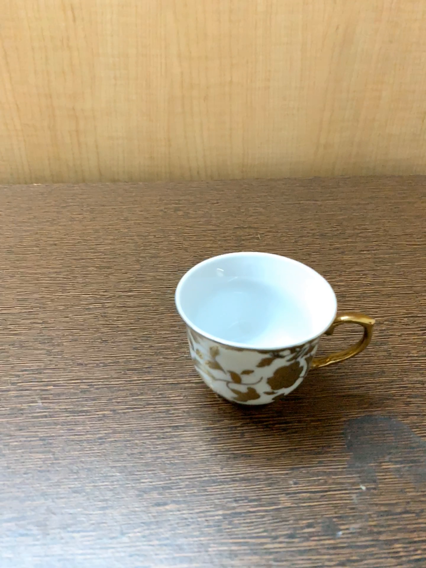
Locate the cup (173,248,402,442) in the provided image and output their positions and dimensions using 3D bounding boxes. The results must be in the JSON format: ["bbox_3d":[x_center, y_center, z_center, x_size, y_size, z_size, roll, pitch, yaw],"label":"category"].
[{"bbox_3d":[0.026,0.024,0.198,0.080,0.050,0.071,1,35,0],"label":"cup"}]

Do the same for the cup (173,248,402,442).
[{"bbox_3d":[0.026,0.024,0.198,0.080,0.050,0.071,1,35,0],"label":"cup"}]
